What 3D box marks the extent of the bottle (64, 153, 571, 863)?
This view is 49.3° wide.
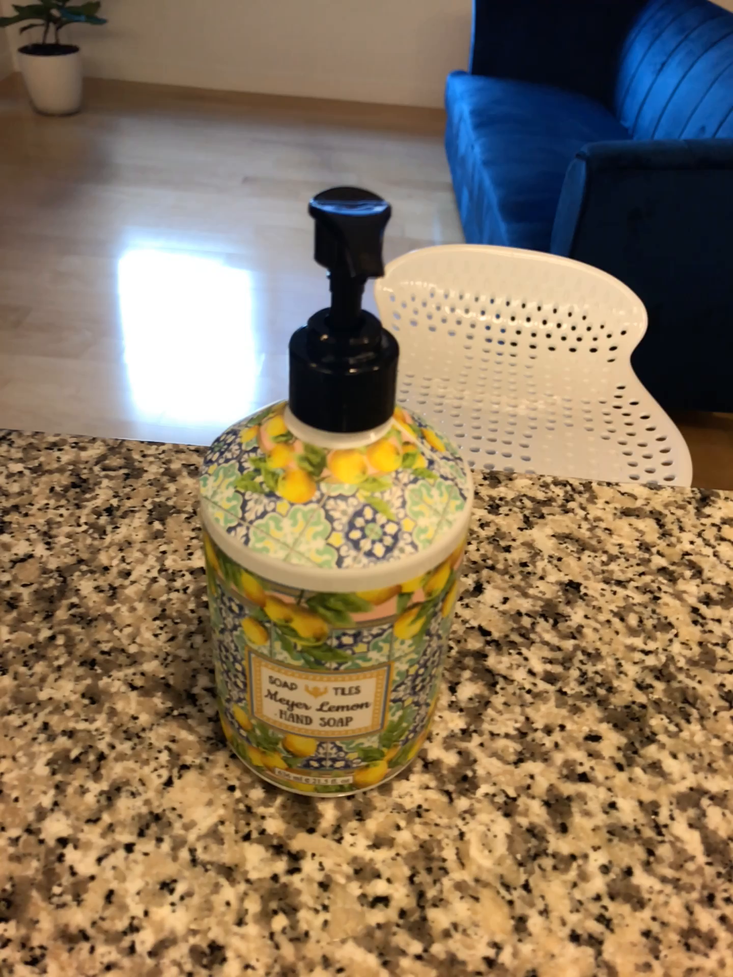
[{"bbox_3d":[-0.013,0.016,0.240,0.090,0.189,0.101,3,40,-1],"label":"bottle"}]
